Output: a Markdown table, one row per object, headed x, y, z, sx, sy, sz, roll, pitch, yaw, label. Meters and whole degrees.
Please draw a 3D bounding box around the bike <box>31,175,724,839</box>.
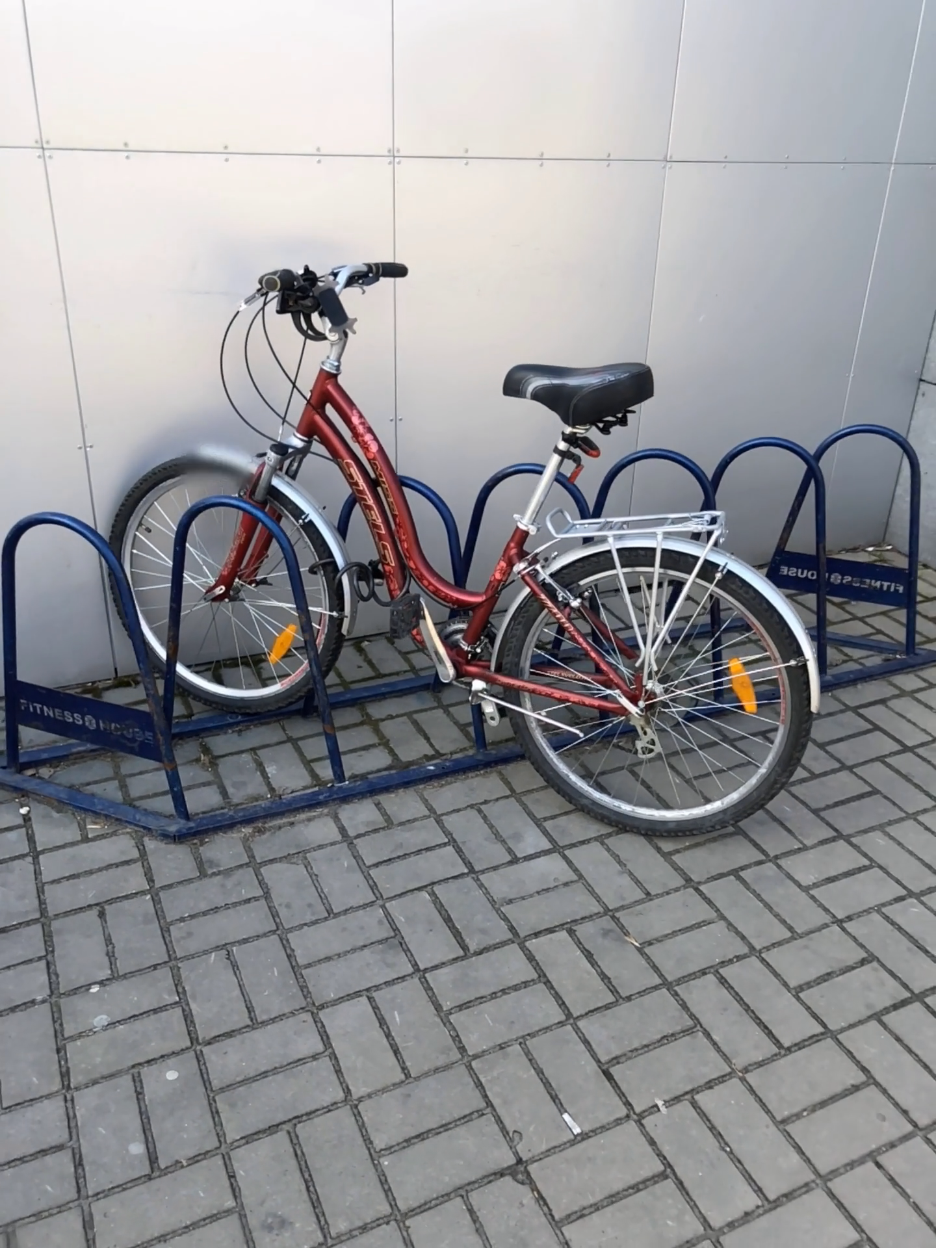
| x | y | z | sx | sy | sz | roll | pitch | yaw | label |
| --- | --- | --- | --- | --- | --- | --- | --- | --- | --- |
| -0.186 | -0.340 | 2.245 | 1.306 | 0.972 | 0.598 | 17 | 29 | 20 | bike |
